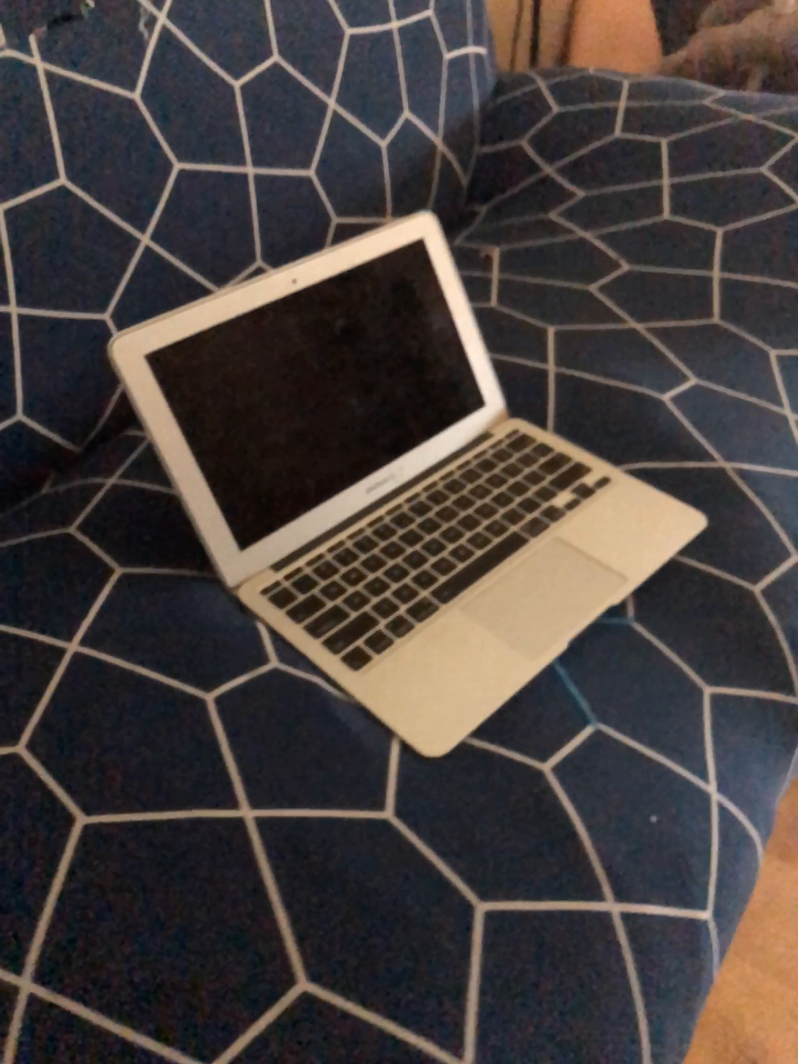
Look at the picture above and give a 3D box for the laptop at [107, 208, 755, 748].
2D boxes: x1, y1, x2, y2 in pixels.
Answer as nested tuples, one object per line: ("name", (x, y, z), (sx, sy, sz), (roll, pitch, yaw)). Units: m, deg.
("laptop", (0.023, -0.068, 0.595), (0.280, 0.156, 0.282), (32, 50, 33))
